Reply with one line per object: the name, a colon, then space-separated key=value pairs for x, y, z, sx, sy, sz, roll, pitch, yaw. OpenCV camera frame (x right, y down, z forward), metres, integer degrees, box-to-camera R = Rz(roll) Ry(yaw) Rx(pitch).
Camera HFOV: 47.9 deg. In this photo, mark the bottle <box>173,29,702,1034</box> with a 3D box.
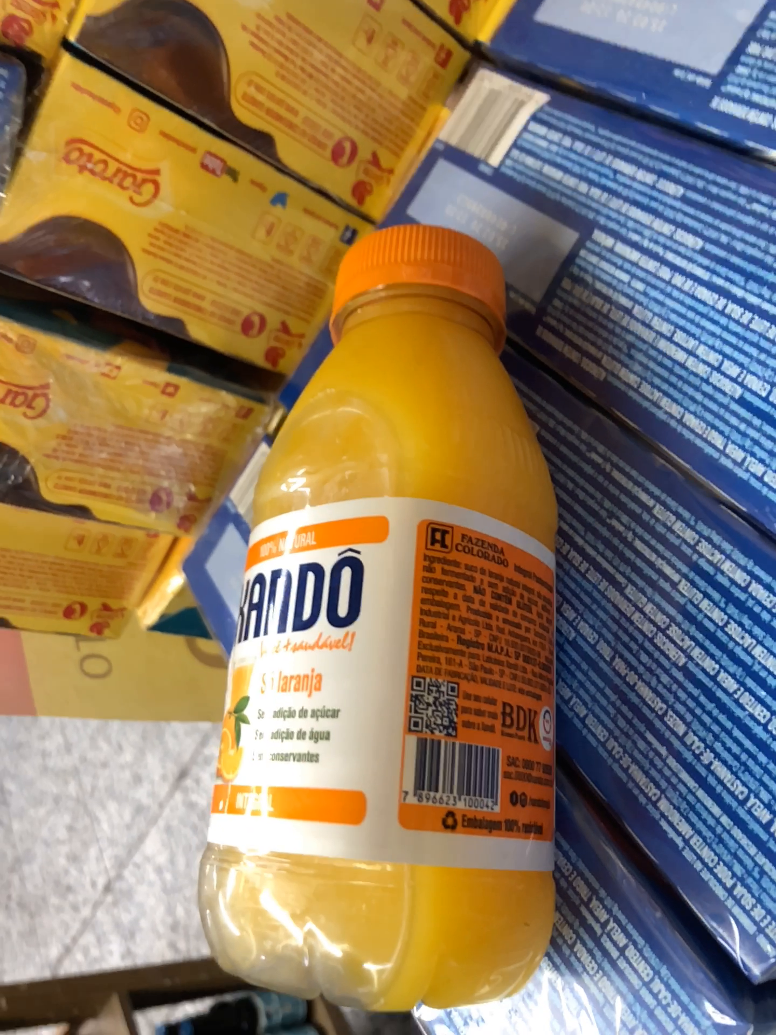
bottle: x=0.014 y=0.003 z=0.188 sx=0.060 sy=0.080 sz=0.170 roll=-15 pitch=65 yaw=42
